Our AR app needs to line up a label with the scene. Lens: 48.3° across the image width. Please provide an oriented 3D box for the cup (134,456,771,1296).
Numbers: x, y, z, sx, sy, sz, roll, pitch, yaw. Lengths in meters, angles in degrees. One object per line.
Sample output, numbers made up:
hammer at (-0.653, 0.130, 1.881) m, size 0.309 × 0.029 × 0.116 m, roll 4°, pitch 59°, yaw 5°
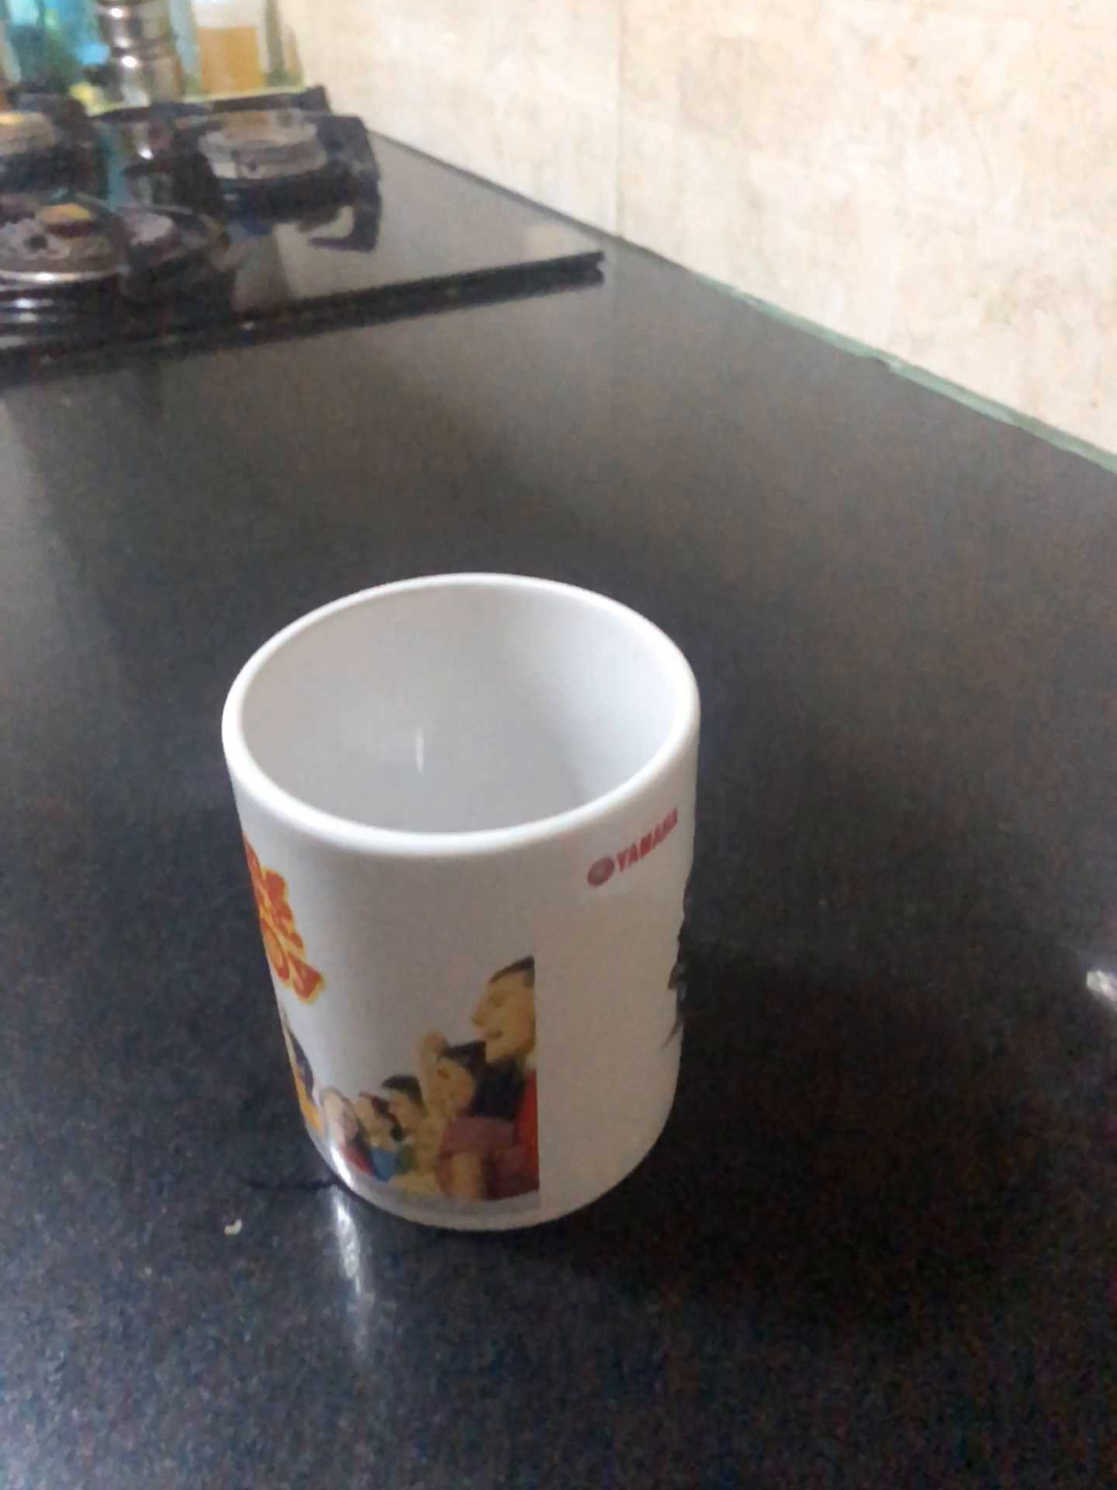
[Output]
cup at (-0.027, 0.017, 0.253) m, size 0.080 × 0.099 × 0.121 m, roll -14°, pitch 37°, yaw -18°
